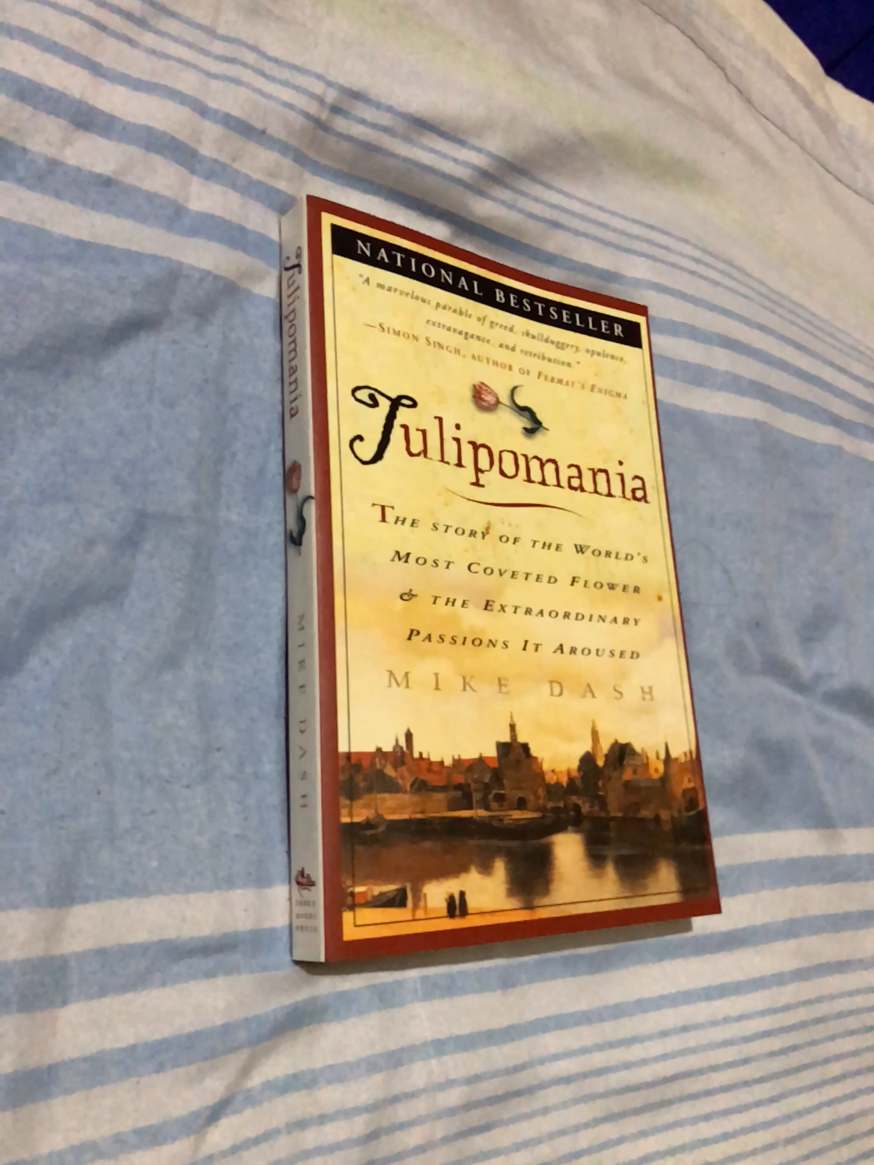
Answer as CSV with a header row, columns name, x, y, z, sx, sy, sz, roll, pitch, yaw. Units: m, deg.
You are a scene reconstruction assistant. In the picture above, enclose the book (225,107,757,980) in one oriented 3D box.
name,x,y,z,sx,sy,sz,roll,pitch,yaw
book,0.013,-0.011,0.301,0.141,0.050,0.230,7,70,-34
